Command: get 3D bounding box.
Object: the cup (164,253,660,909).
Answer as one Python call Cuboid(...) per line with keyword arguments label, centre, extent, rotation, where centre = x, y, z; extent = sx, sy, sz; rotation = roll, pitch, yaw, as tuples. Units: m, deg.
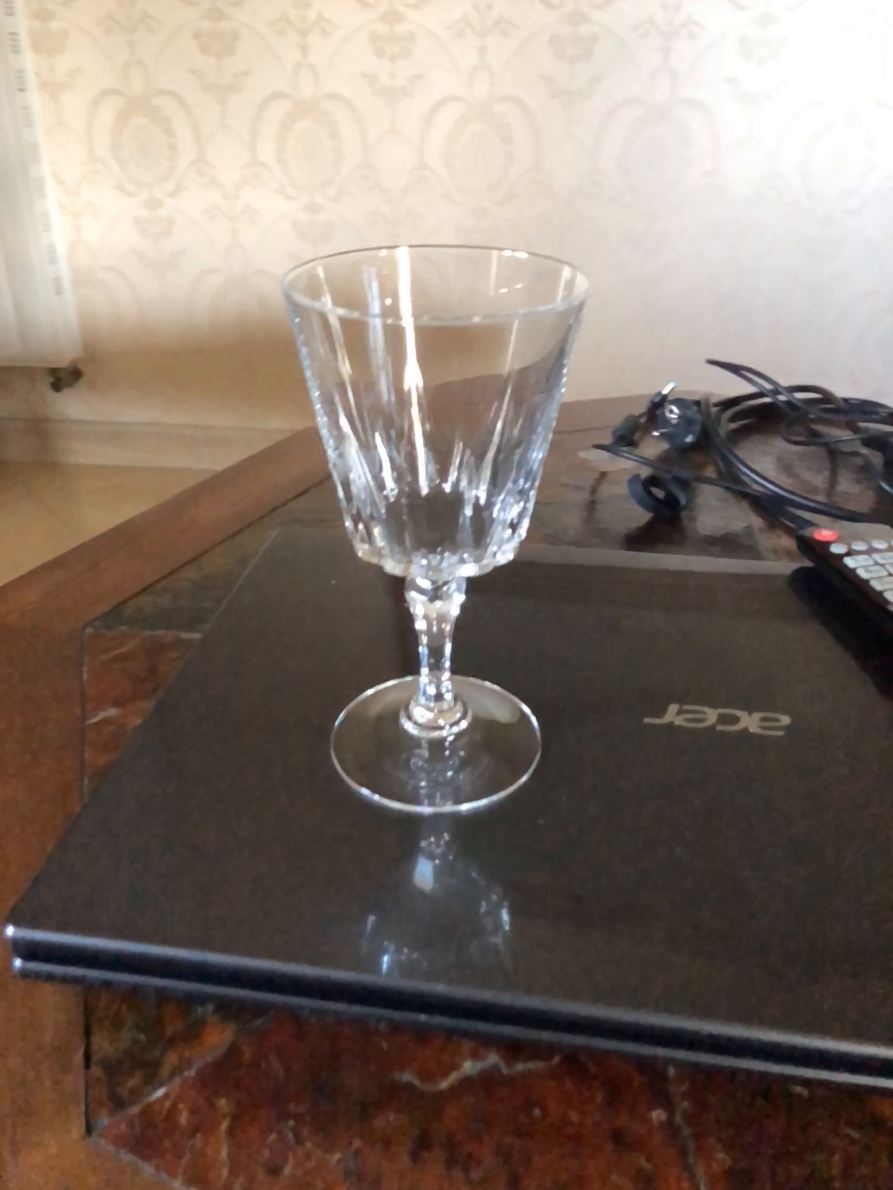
Cuboid(label="cup", centre=(-0.013, -0.012, 0.307), extent=(0.100, 0.159, 0.100), rotation=(0, 28, 0))
